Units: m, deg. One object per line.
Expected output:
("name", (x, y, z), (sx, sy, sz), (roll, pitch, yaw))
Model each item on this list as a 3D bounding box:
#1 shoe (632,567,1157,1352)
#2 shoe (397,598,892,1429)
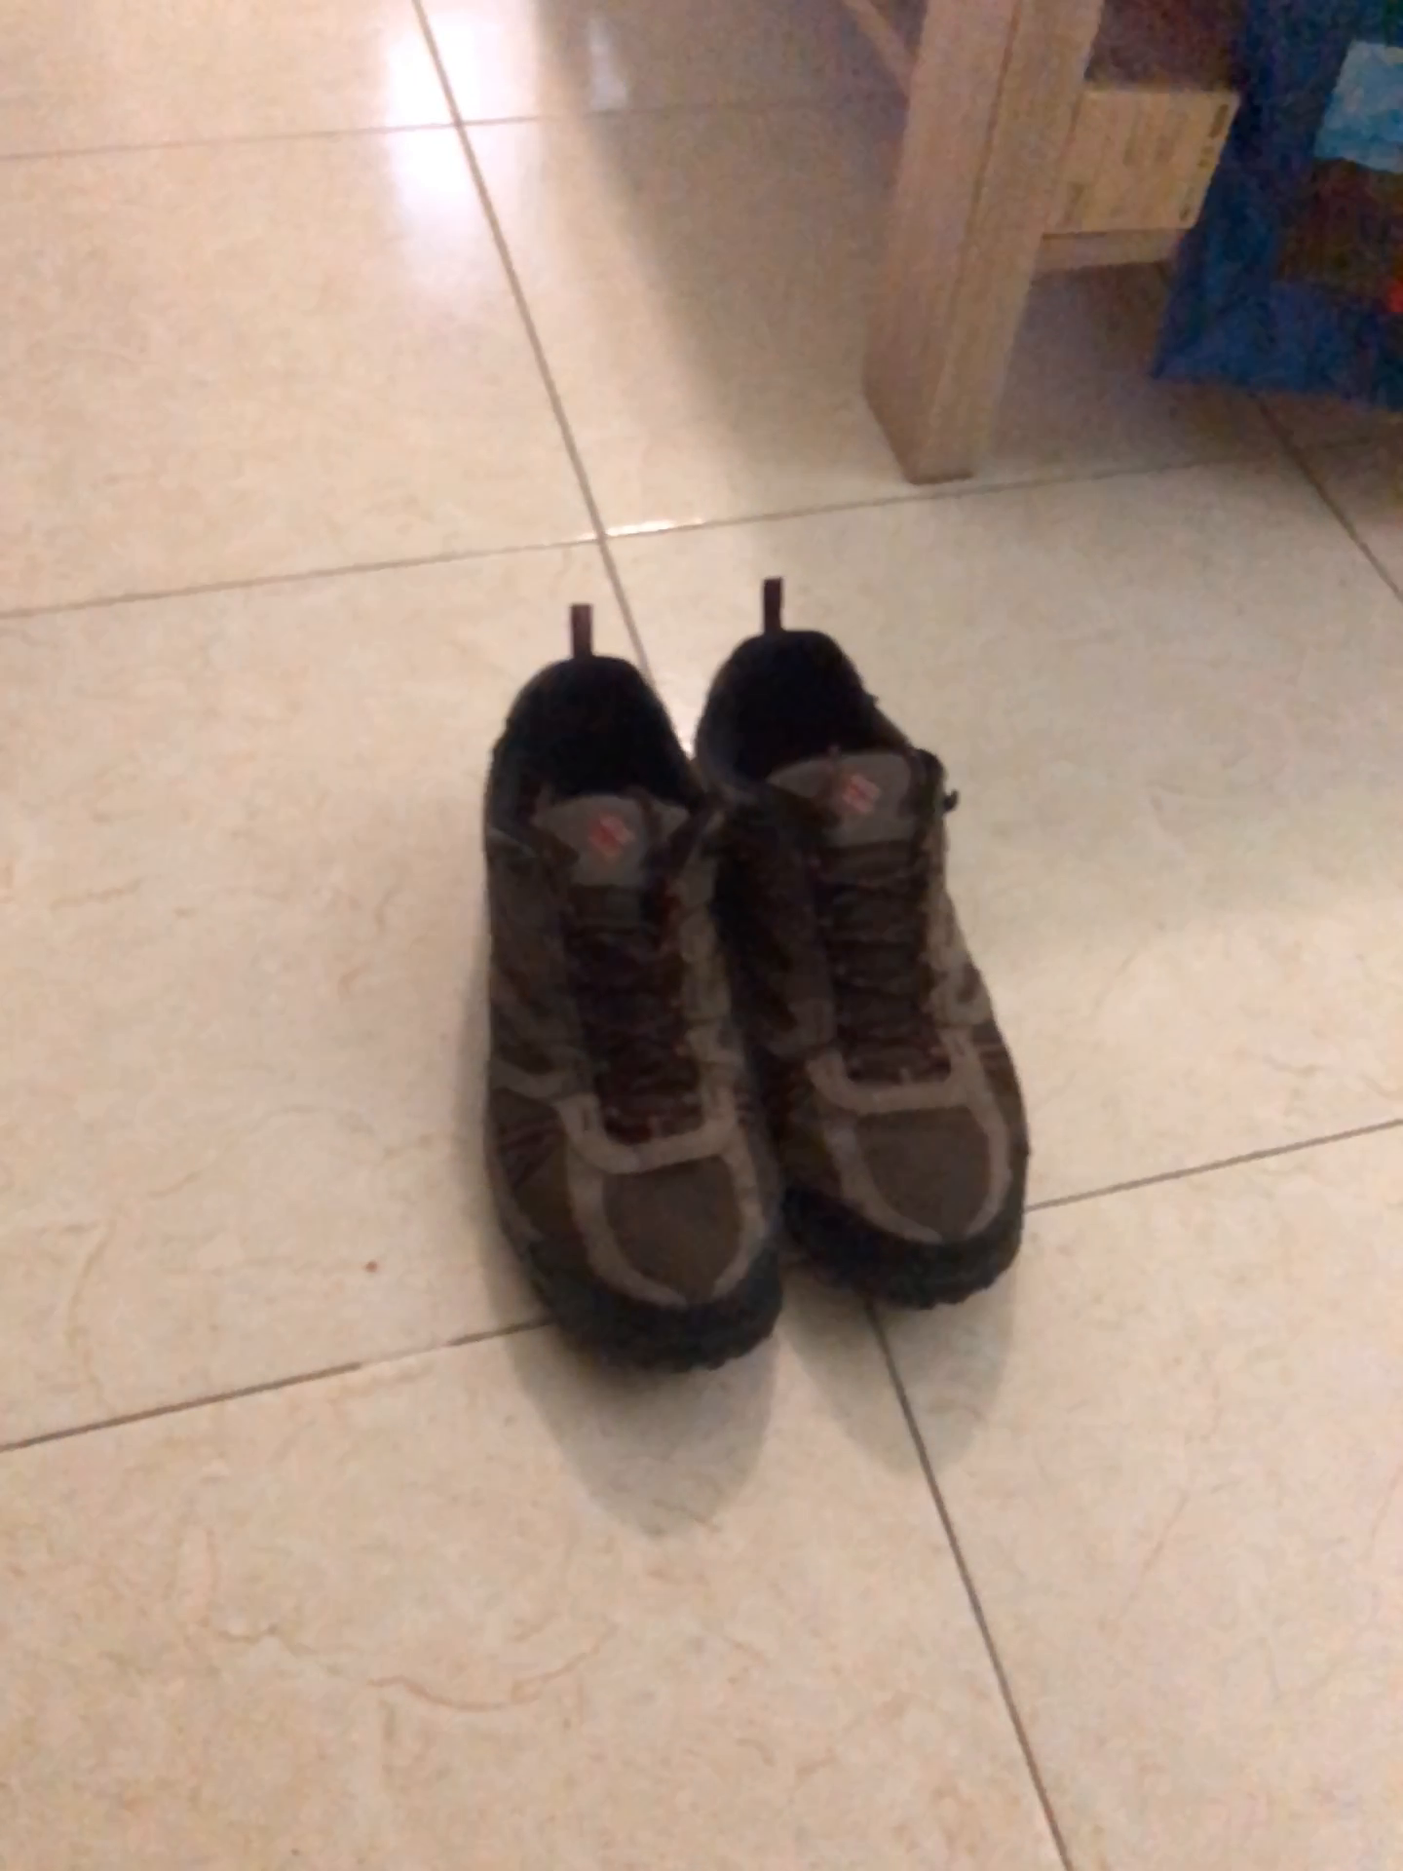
("shoe", (0.062, -0.002, 0.674), (0.120, 0.120, 0.311), (-9, 56, -11))
("shoe", (-0.037, 0.017, 0.634), (0.130, 0.110, 0.311), (-8, 55, -10))
